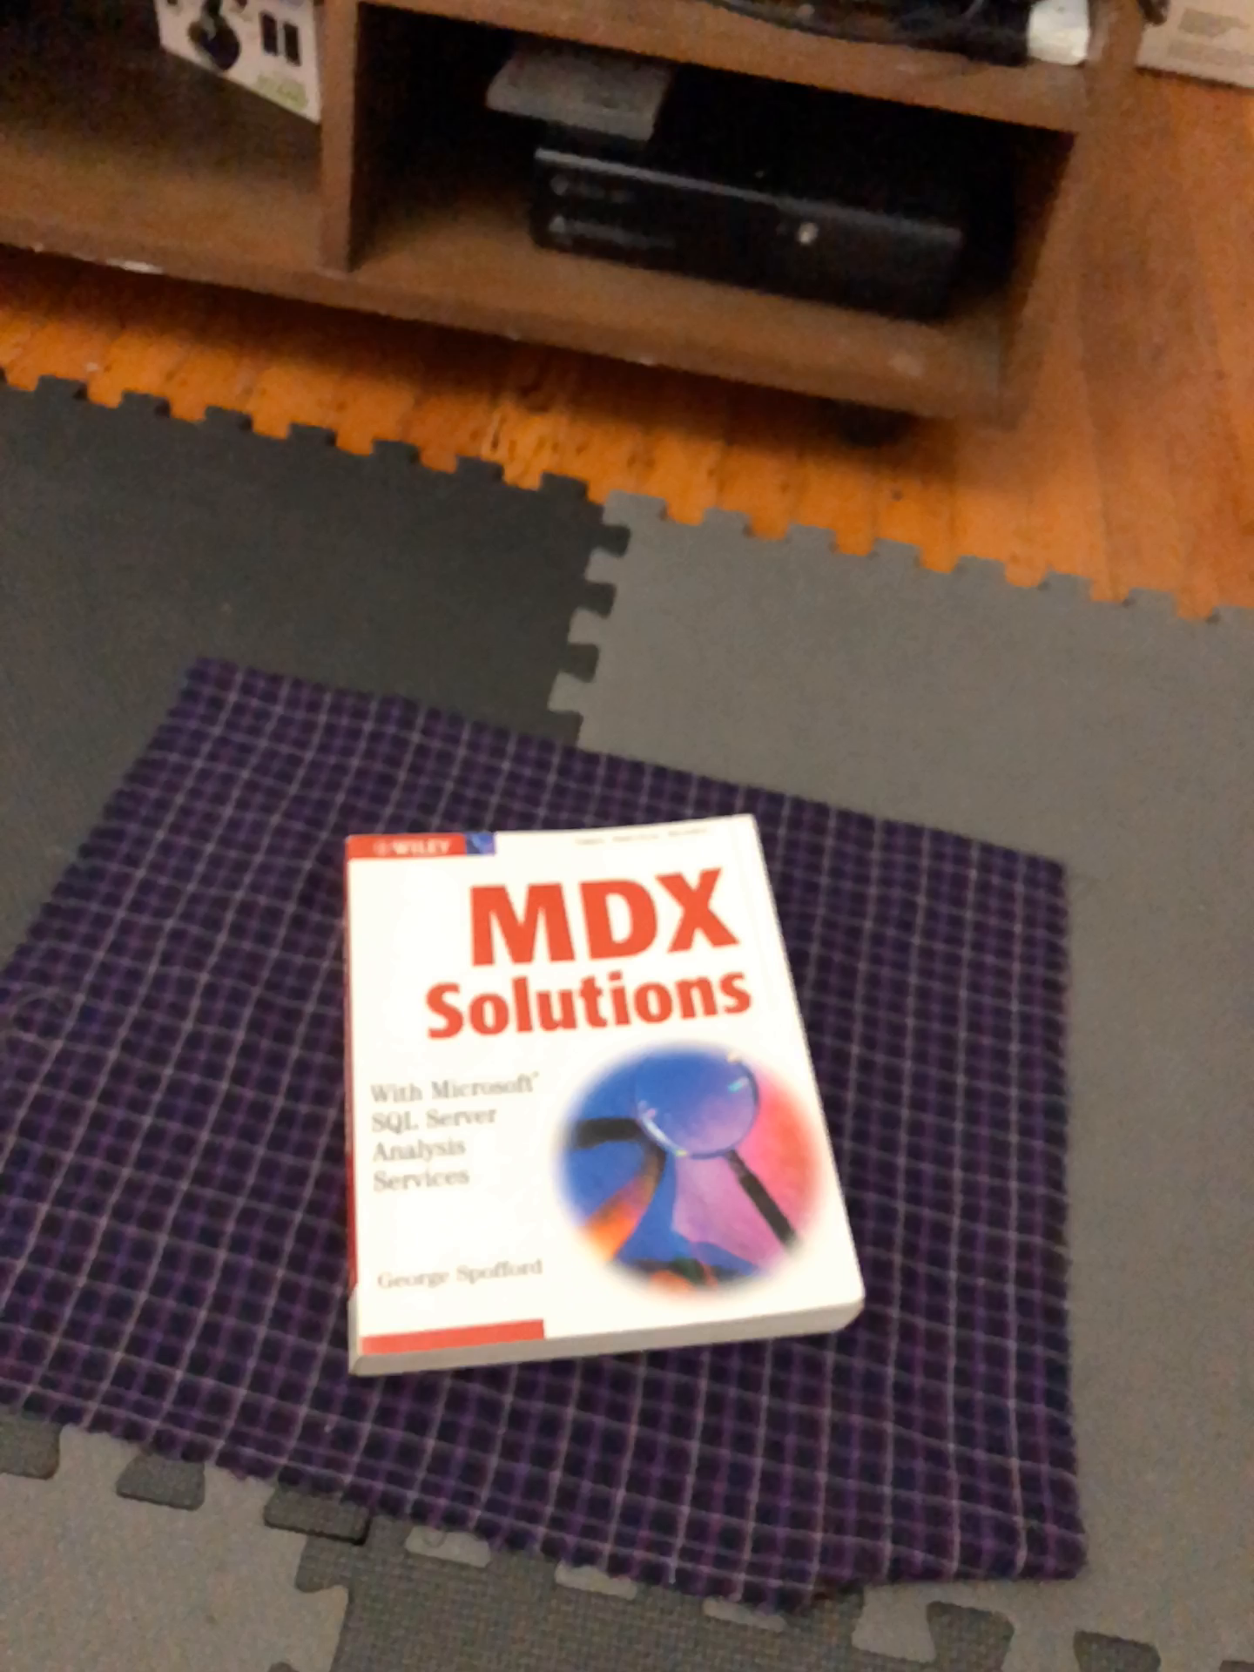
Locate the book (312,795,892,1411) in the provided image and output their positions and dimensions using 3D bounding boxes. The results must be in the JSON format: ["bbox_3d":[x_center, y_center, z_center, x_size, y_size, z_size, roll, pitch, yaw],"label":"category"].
[{"bbox_3d":[-0.026,0.102,0.625,0.220,0.050,0.261,-3,52,-10],"label":"book"}]
